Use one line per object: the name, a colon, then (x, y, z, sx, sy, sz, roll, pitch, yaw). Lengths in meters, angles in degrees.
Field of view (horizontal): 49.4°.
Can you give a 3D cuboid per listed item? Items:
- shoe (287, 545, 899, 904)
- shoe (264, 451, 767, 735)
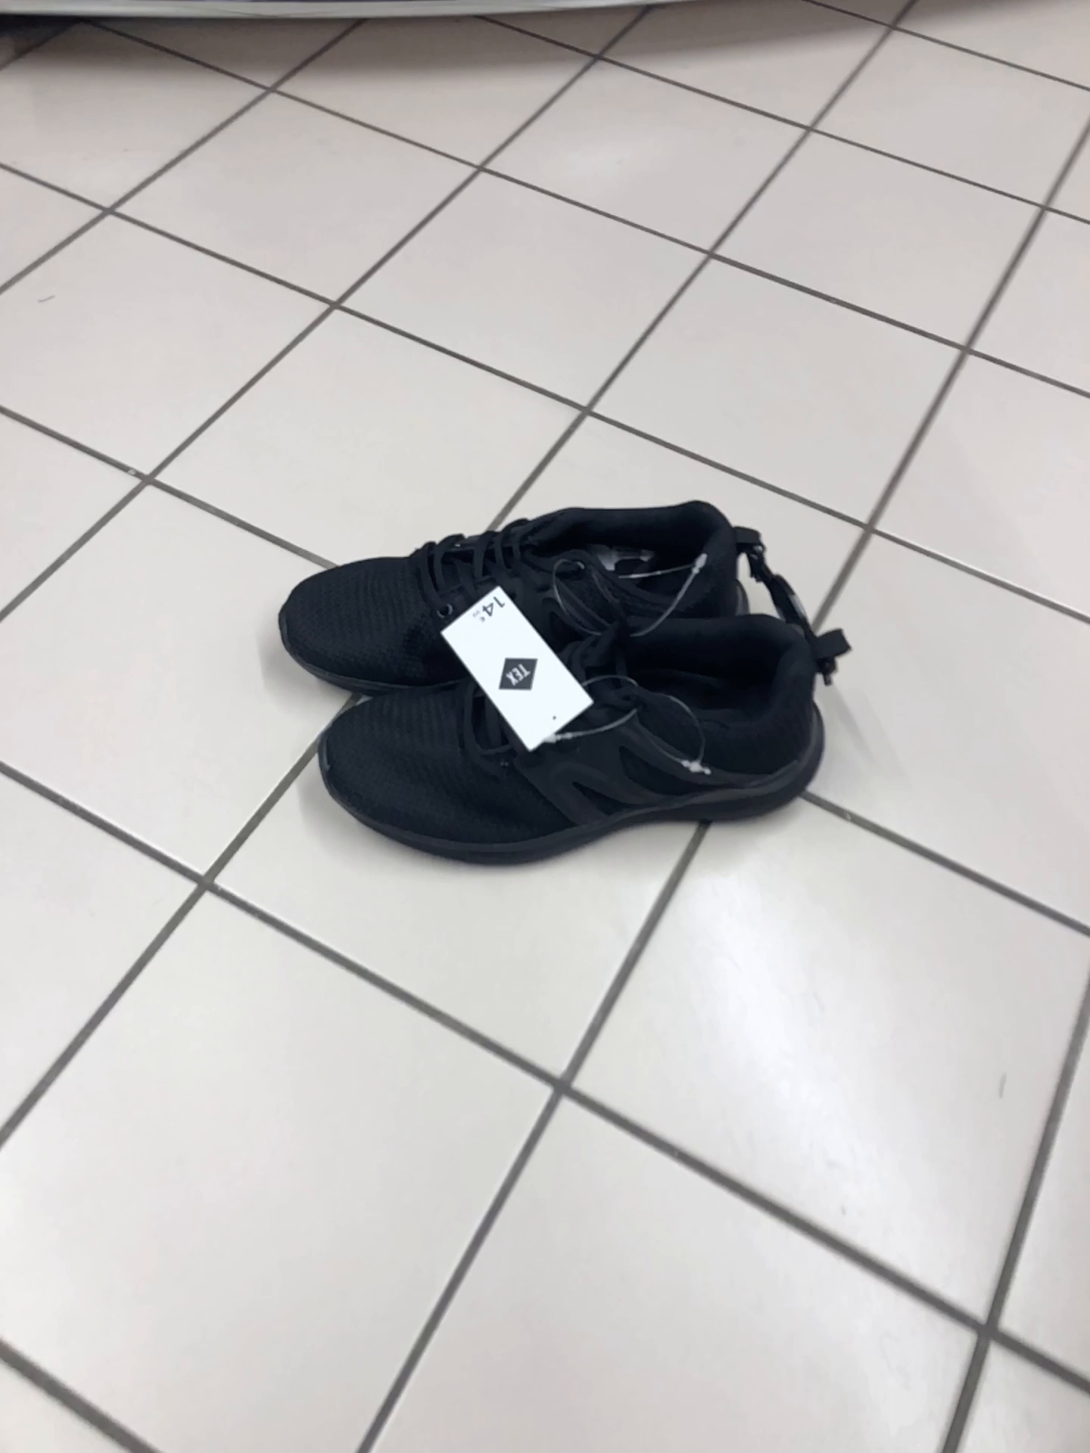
shoe: (0.017, -0.001, 0.598, 0.270, 0.119, 0.100, -7, 57, -8)
shoe: (-0.019, -0.074, 0.660, 0.250, 0.109, 0.100, -3, 57, -6)
